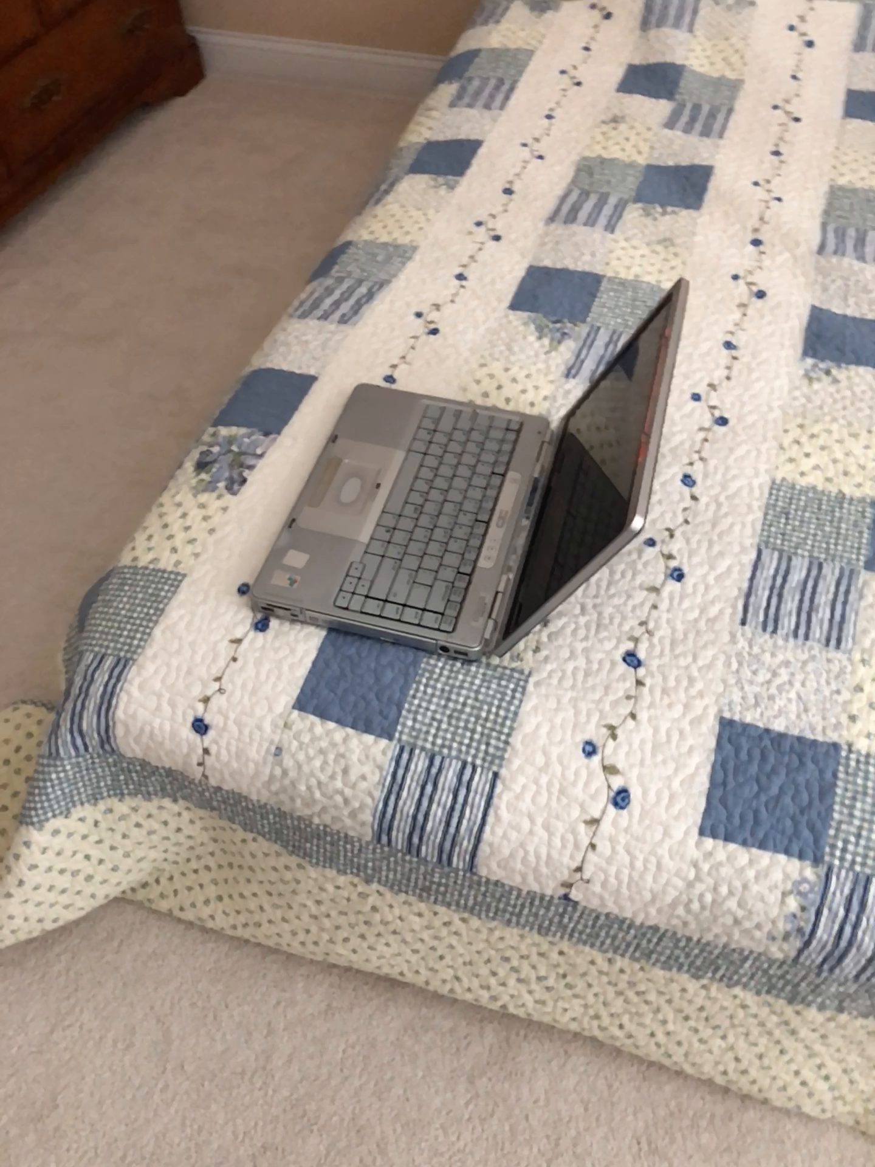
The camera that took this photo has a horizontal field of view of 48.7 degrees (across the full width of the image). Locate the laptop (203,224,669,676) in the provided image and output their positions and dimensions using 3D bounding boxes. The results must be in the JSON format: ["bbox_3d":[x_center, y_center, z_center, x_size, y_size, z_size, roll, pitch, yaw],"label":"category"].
[{"bbox_3d":[0.019,-0.137,0.905,0.326,0.193,0.323,13,51,9],"label":"laptop"}]
